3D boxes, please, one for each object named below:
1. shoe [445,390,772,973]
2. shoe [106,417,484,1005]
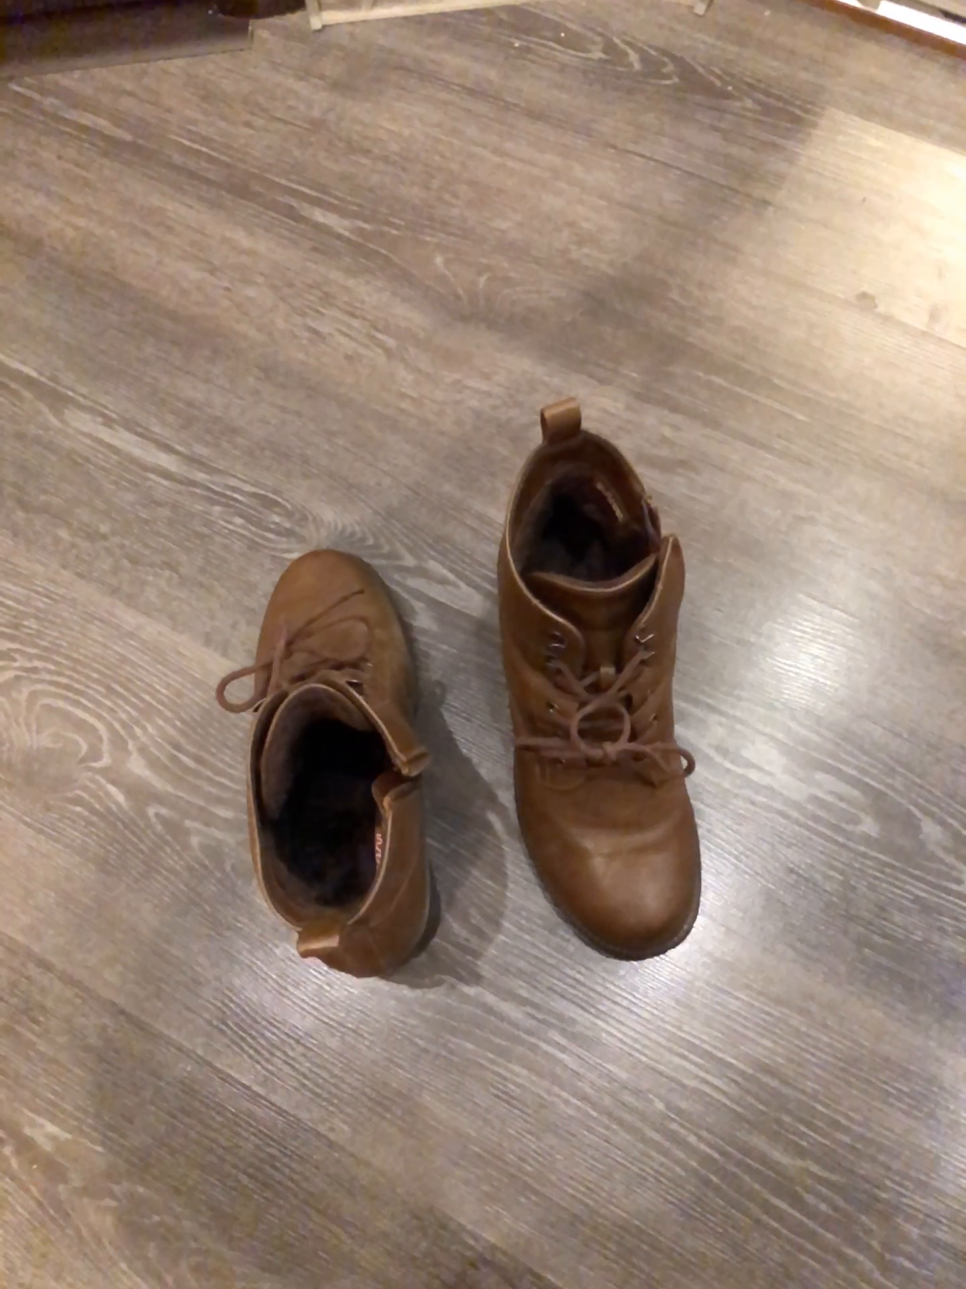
[{"bbox_3d":[0.050,0.033,0.499,0.090,0.190,0.220,-8,72,2],"label":"shoe"},{"bbox_3d":[-0.080,0.042,0.501,0.100,0.170,0.220,-14,72,0],"label":"shoe"}]
